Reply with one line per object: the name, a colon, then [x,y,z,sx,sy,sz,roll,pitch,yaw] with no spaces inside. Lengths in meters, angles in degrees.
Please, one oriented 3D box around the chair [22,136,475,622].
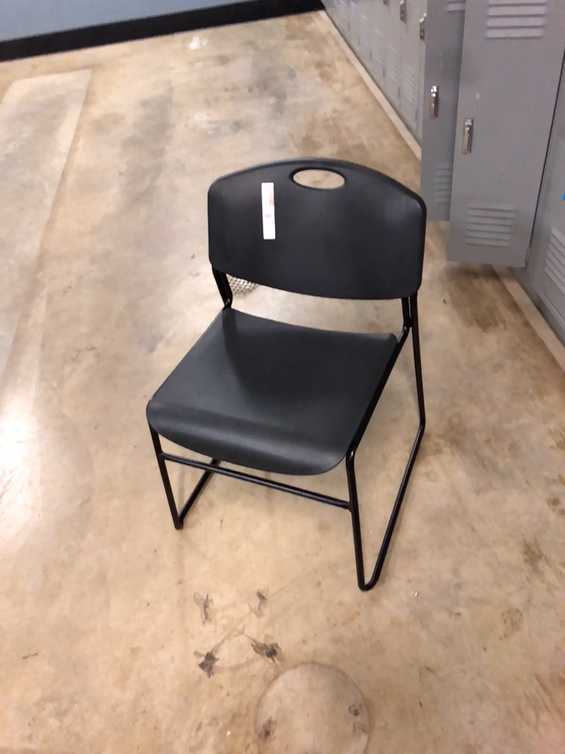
chair: [0.012,-0.013,1.217,0.545,0.665,0.548,12,48,21]
